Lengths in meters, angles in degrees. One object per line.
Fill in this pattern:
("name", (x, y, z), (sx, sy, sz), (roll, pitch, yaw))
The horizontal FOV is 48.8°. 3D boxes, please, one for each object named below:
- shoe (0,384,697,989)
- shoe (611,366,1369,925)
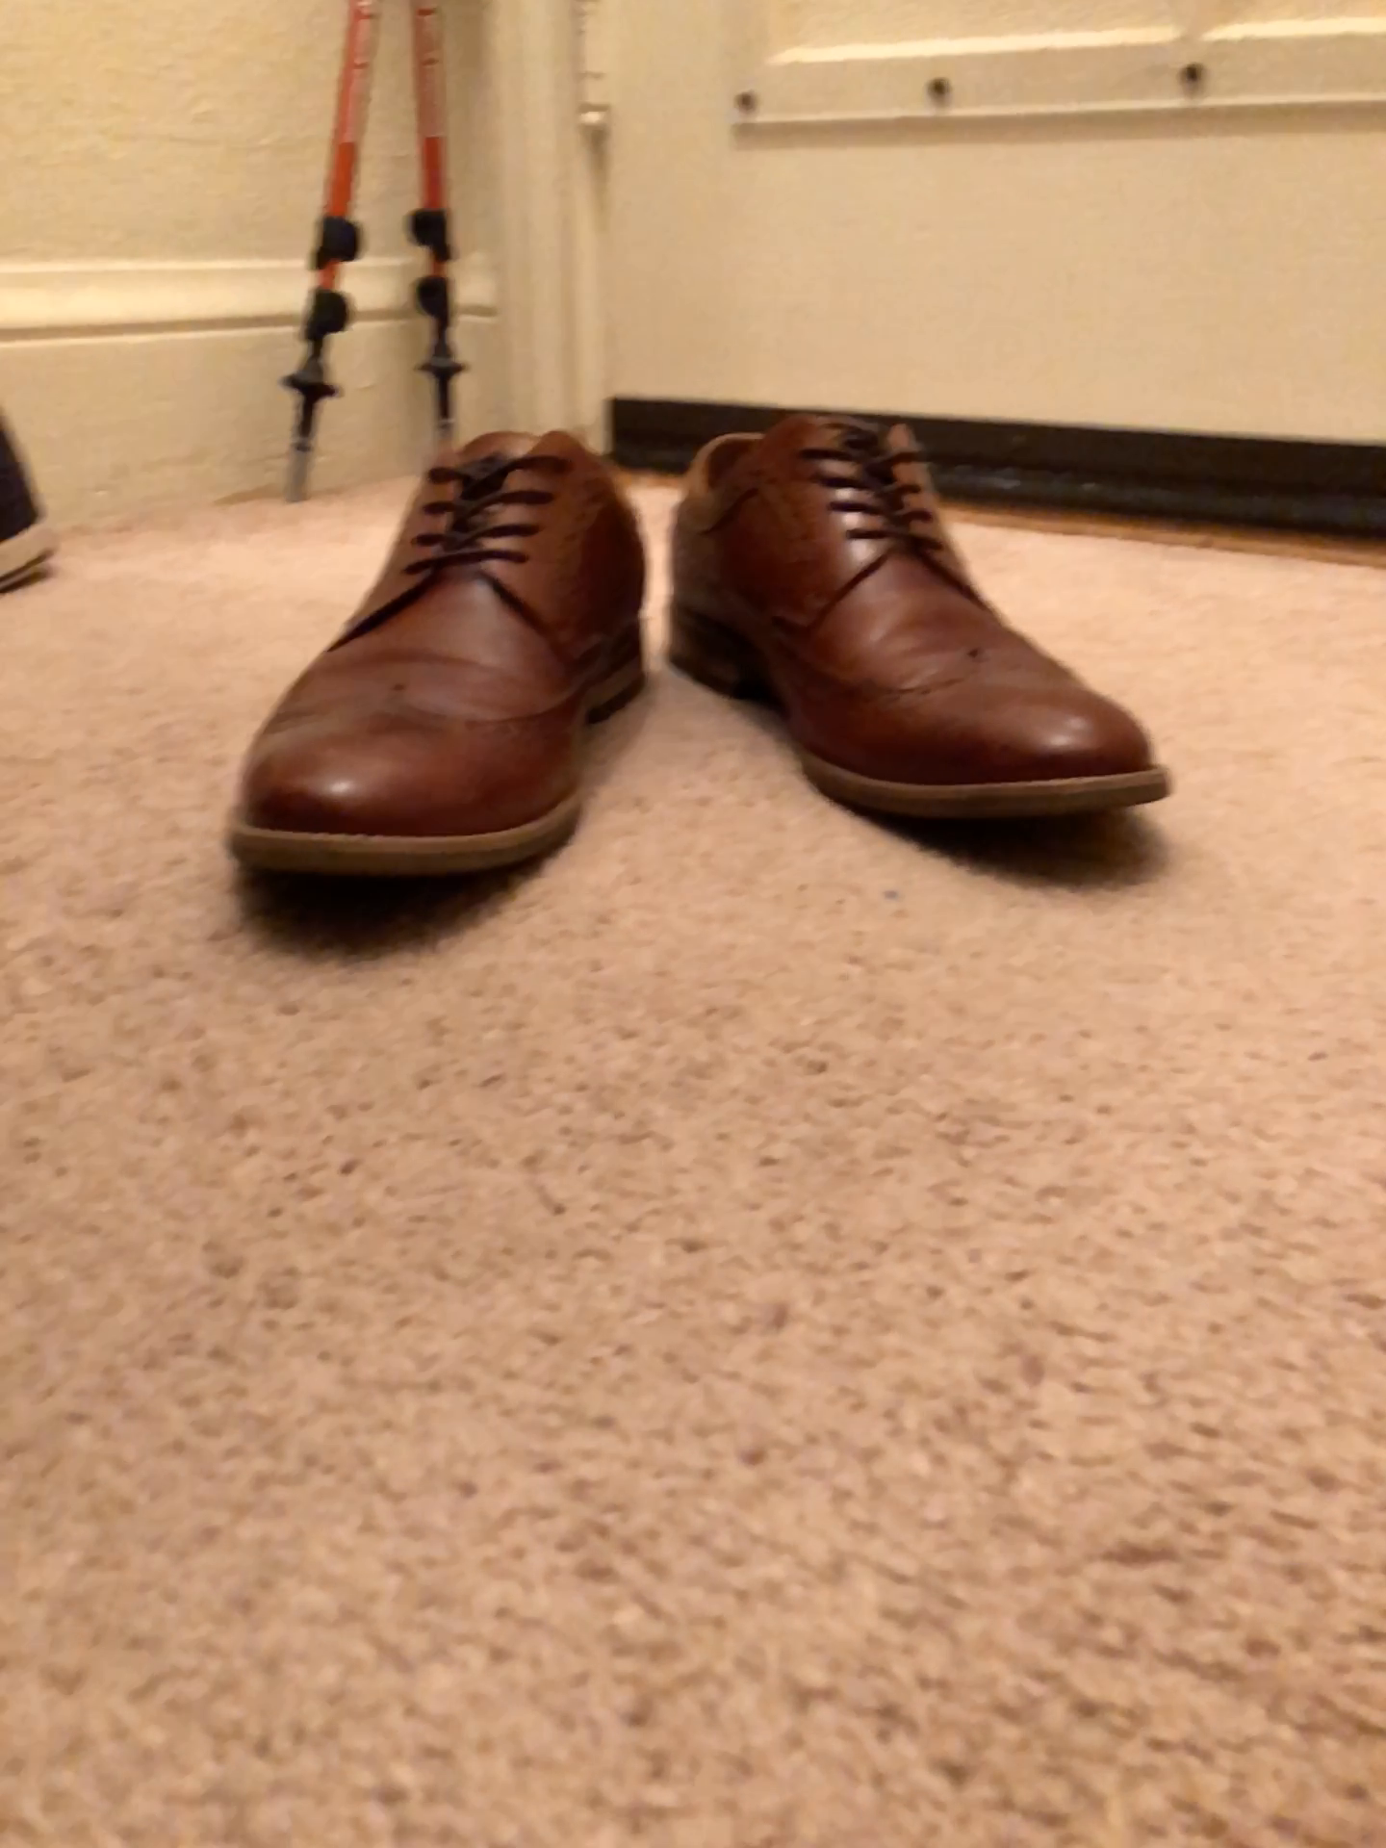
("shoe", (-0.082, -0.104, 0.510), (0.115, 0.114, 0.312), (4, 25, 9))
("shoe", (0.070, -0.121, 0.535), (0.115, 0.114, 0.311), (-8, 26, -17))
